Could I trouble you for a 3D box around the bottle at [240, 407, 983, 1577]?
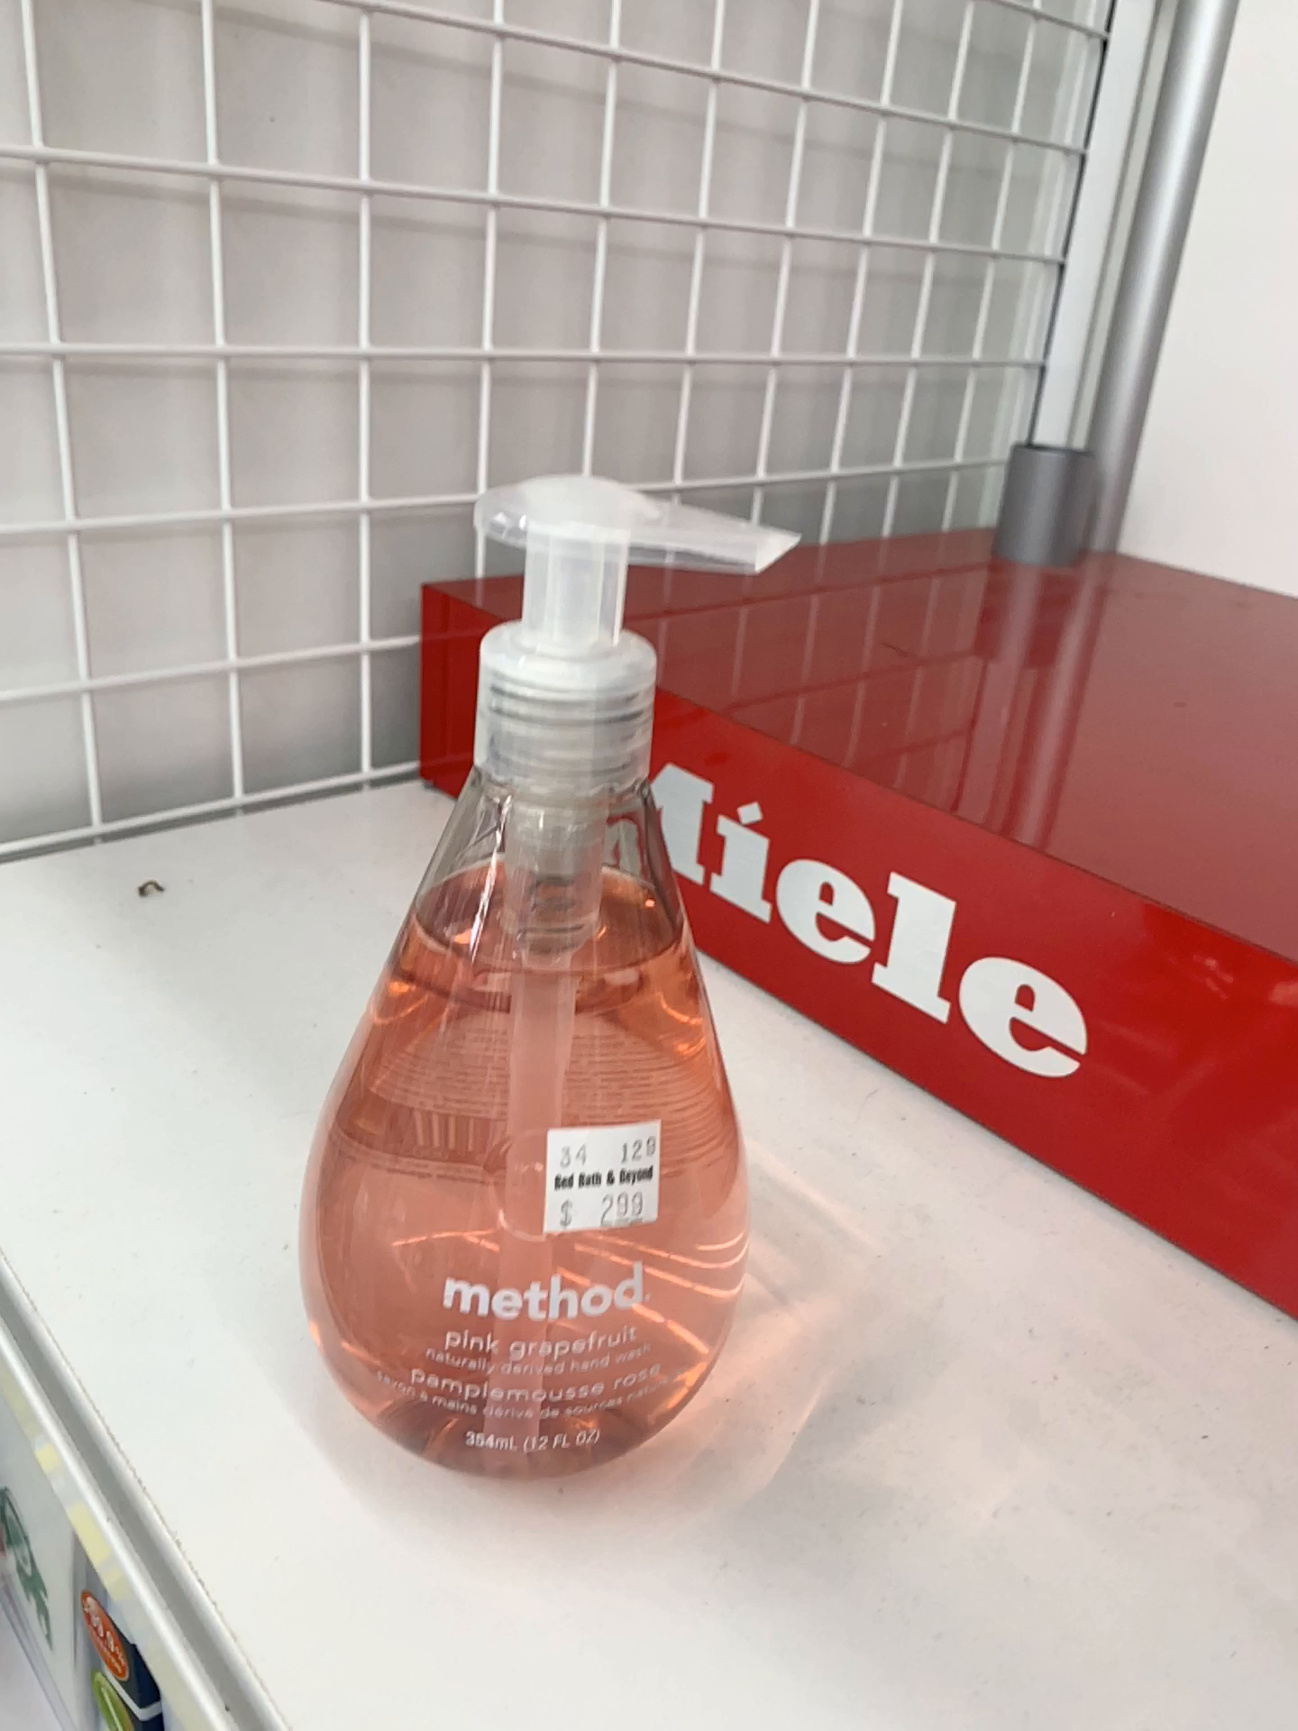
[{"bbox_3d":[-0.014,0.019,0.212,0.080,0.160,0.078,5,24,-2],"label":"bottle"}]
